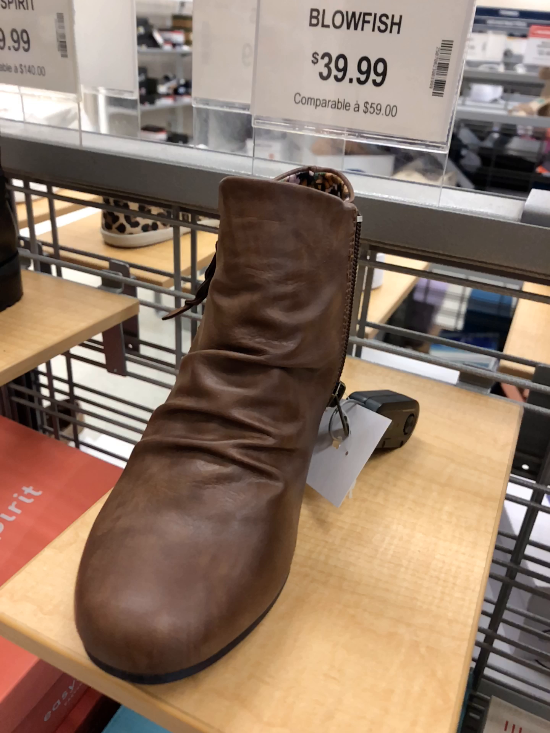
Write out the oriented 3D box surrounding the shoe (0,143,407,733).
[{"bbox_3d":[-0.019,-0.004,0.265,0.090,0.139,0.232,13,30,16],"label":"shoe"}]
